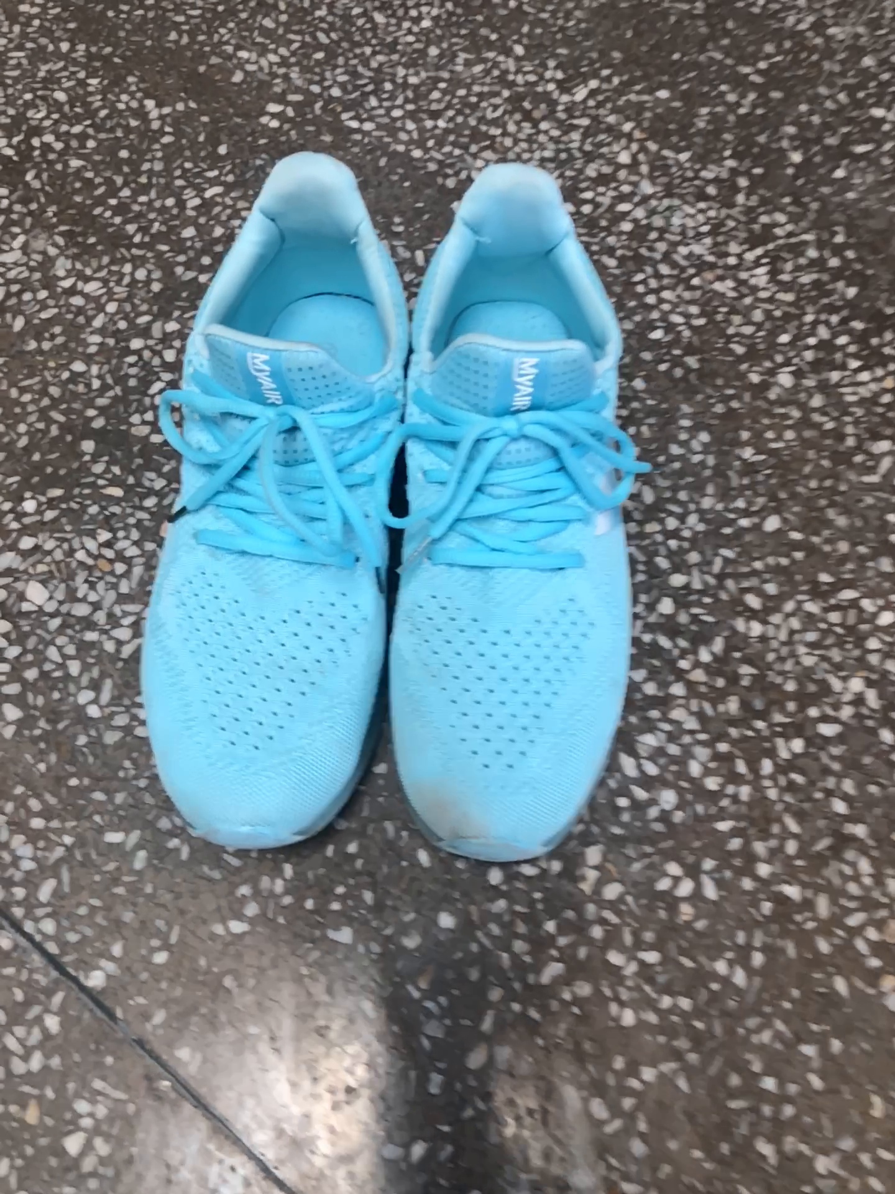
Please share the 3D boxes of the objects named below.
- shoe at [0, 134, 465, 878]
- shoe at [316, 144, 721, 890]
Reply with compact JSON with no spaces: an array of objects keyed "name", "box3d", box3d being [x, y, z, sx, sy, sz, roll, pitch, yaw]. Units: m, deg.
[{"name":"shoe","box3d":[-0.066,-0.038,0.411,0.120,0.125,0.271,5,66,3]},{"name":"shoe","box3d":[0.031,-0.032,0.407,0.120,0.125,0.271,4,66,2]}]
